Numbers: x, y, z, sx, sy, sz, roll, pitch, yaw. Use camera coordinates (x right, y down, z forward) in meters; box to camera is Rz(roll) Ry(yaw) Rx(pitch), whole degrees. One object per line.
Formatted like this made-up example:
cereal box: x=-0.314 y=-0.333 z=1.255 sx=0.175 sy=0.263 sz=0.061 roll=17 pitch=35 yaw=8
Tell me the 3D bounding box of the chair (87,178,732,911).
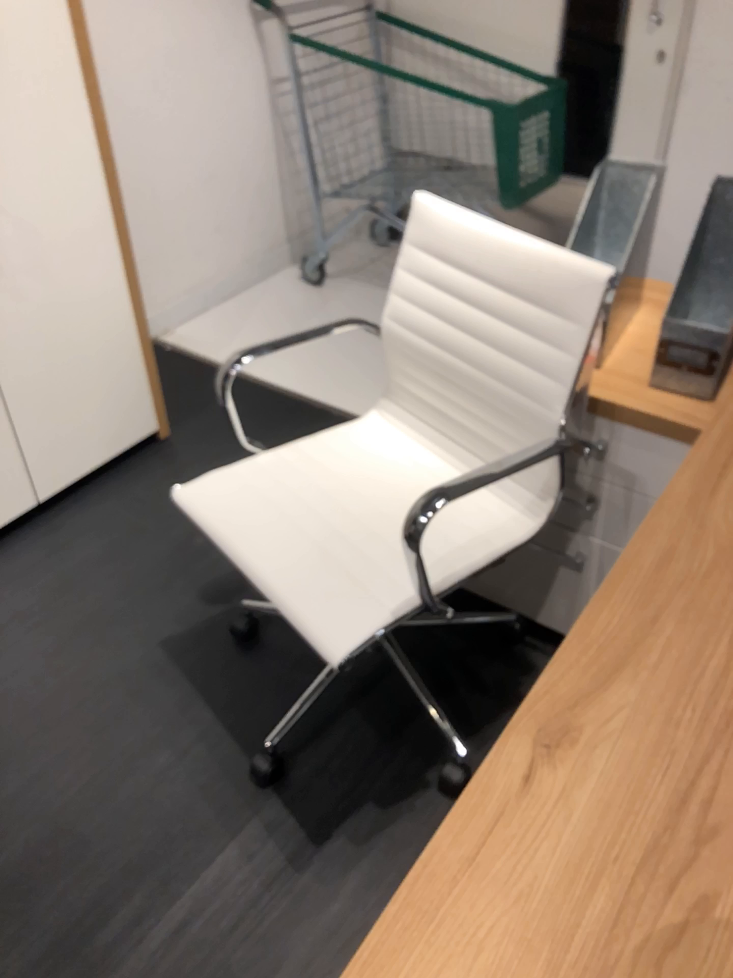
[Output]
chair: x=0.071 y=0.062 z=1.526 sx=0.762 sy=0.953 sz=0.653 roll=-24 pitch=43 yaw=-26
